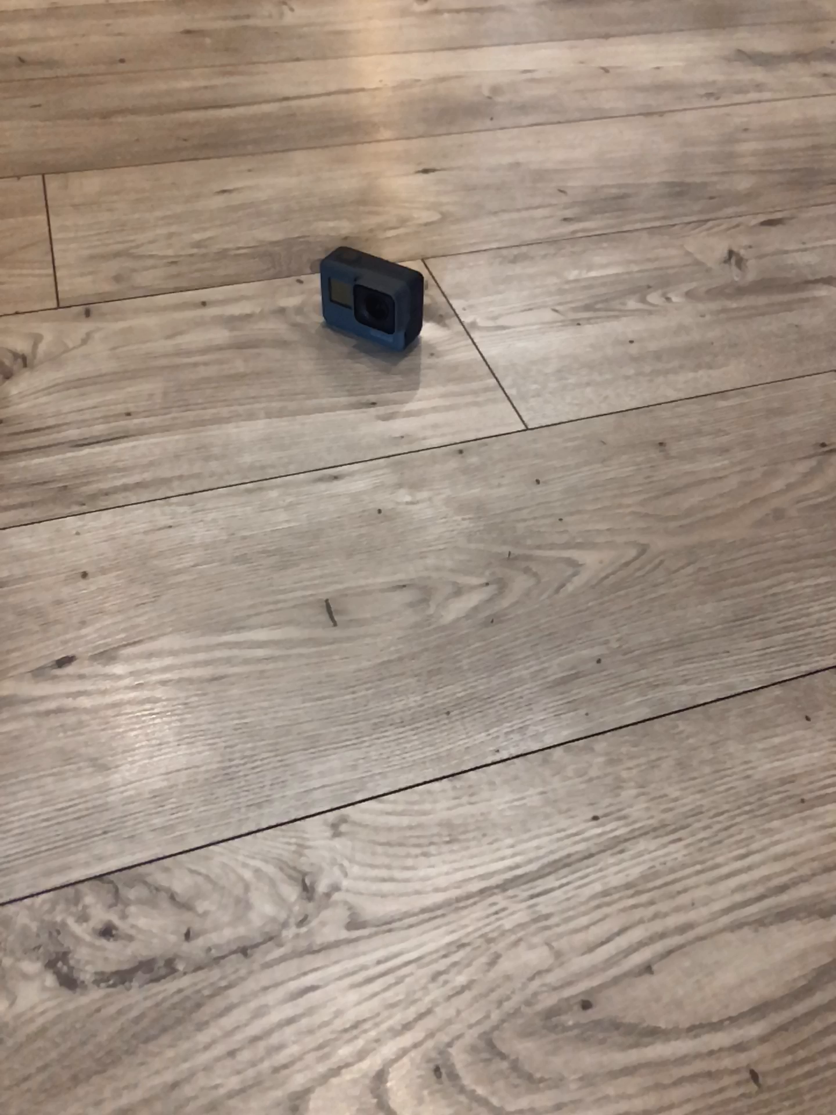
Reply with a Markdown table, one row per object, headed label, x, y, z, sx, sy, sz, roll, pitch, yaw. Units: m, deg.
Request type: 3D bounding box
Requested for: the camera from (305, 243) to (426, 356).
| label | x | y | z | sx | sy | sz | roll | pitch | yaw |
| --- | --- | --- | --- | --- | --- | --- | --- | --- | --- |
| camera | -0.032 | -0.157 | 0.561 | 0.065 | 0.040 | 0.032 | 24 | 50 | 19 |
